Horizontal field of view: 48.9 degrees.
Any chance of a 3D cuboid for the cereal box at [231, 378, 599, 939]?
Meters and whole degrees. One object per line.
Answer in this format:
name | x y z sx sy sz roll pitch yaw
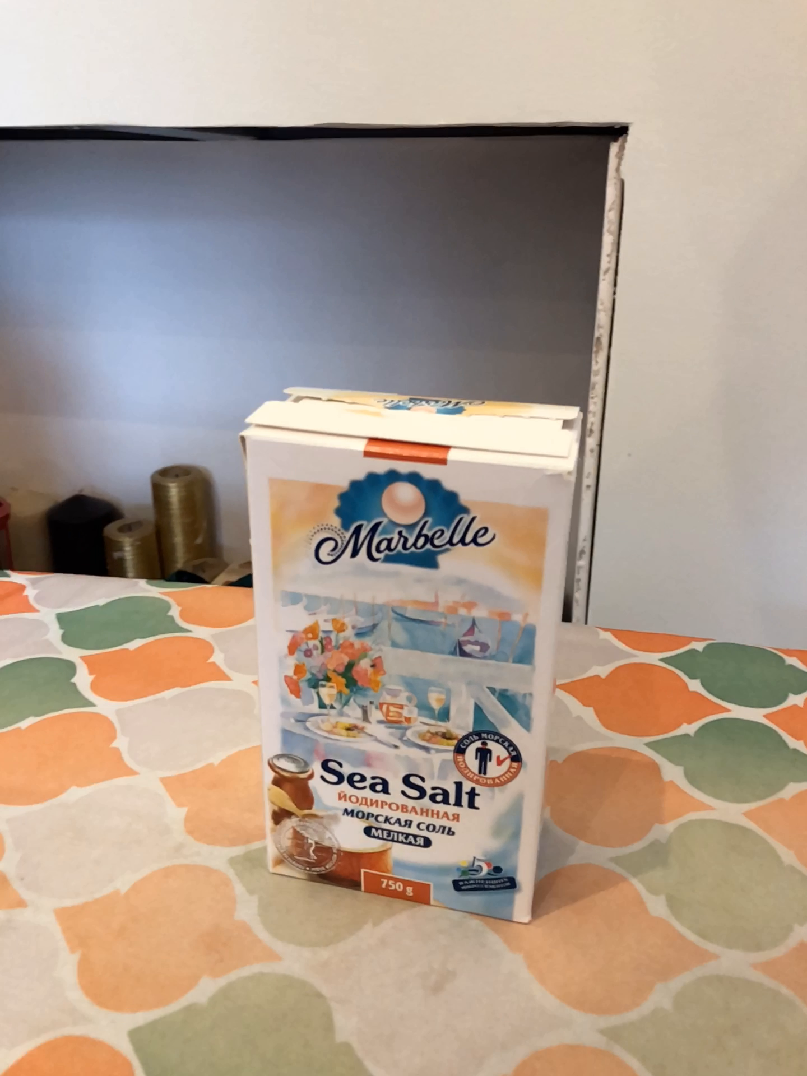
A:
cereal box | 0.005 0.040 0.302 0.100 0.169 0.060 7 25 12
